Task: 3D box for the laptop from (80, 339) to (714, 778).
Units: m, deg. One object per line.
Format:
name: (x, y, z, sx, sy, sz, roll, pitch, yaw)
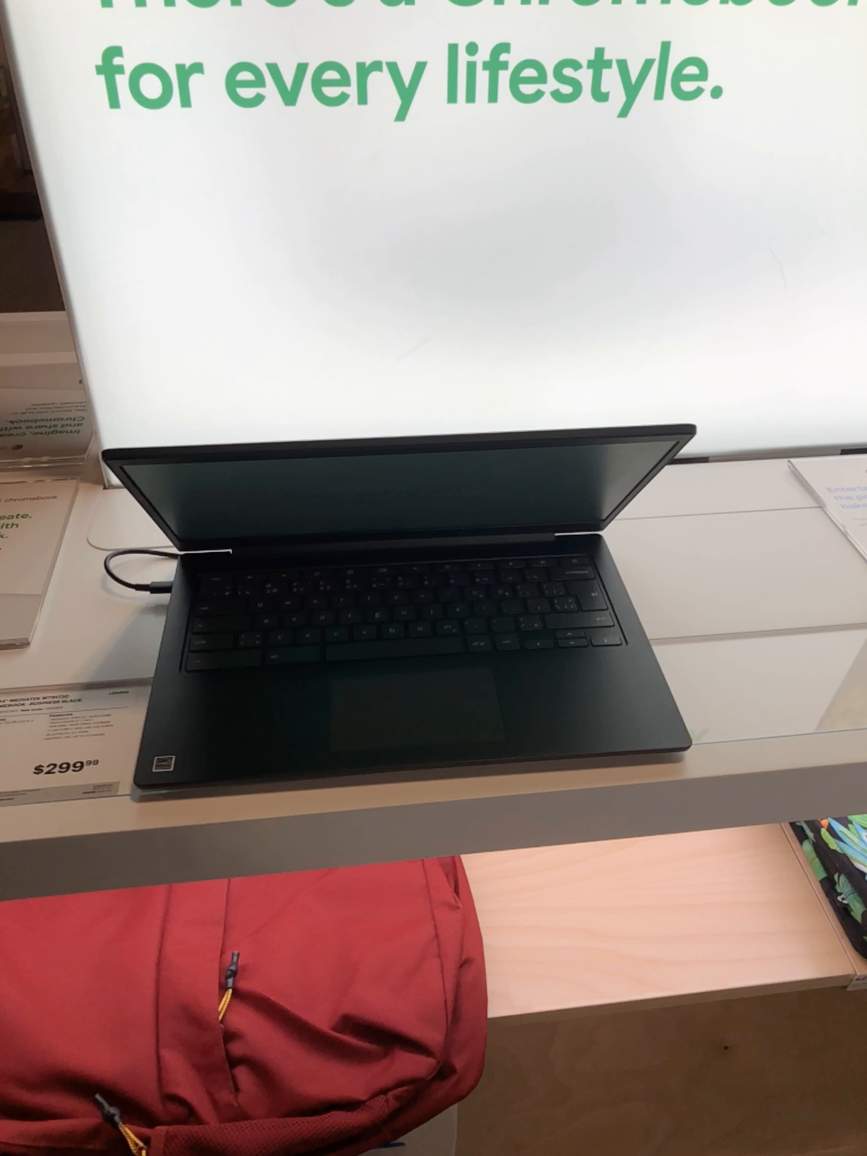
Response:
laptop: (-0.024, -0.023, 0.589, 0.306, 0.157, 0.214, -3, 37, -4)
